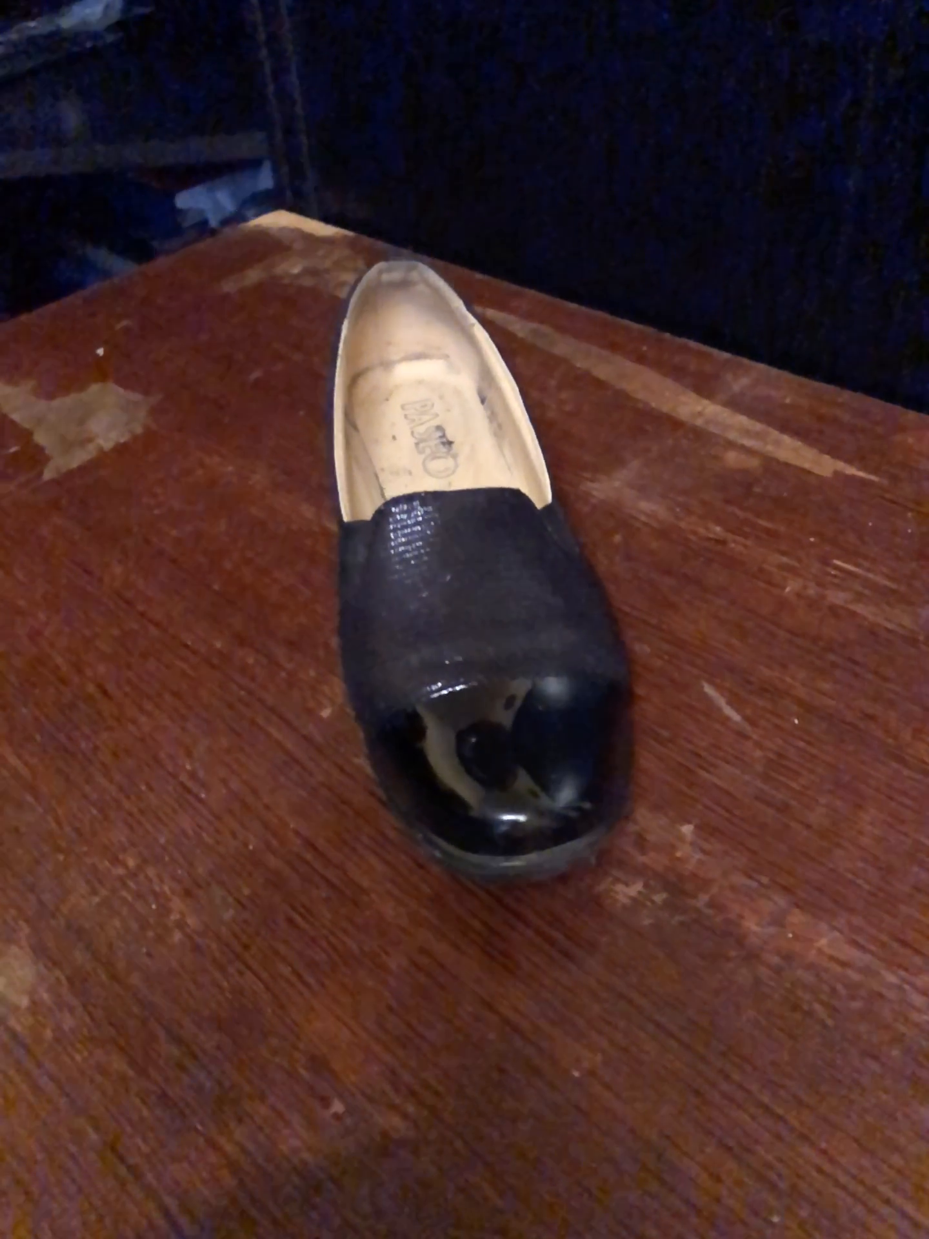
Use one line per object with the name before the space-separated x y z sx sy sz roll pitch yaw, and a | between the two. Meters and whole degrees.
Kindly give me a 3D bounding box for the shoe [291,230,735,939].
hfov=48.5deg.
shoe | -0.001 -0.032 0.326 0.090 0.070 0.238 -8 46 -3
